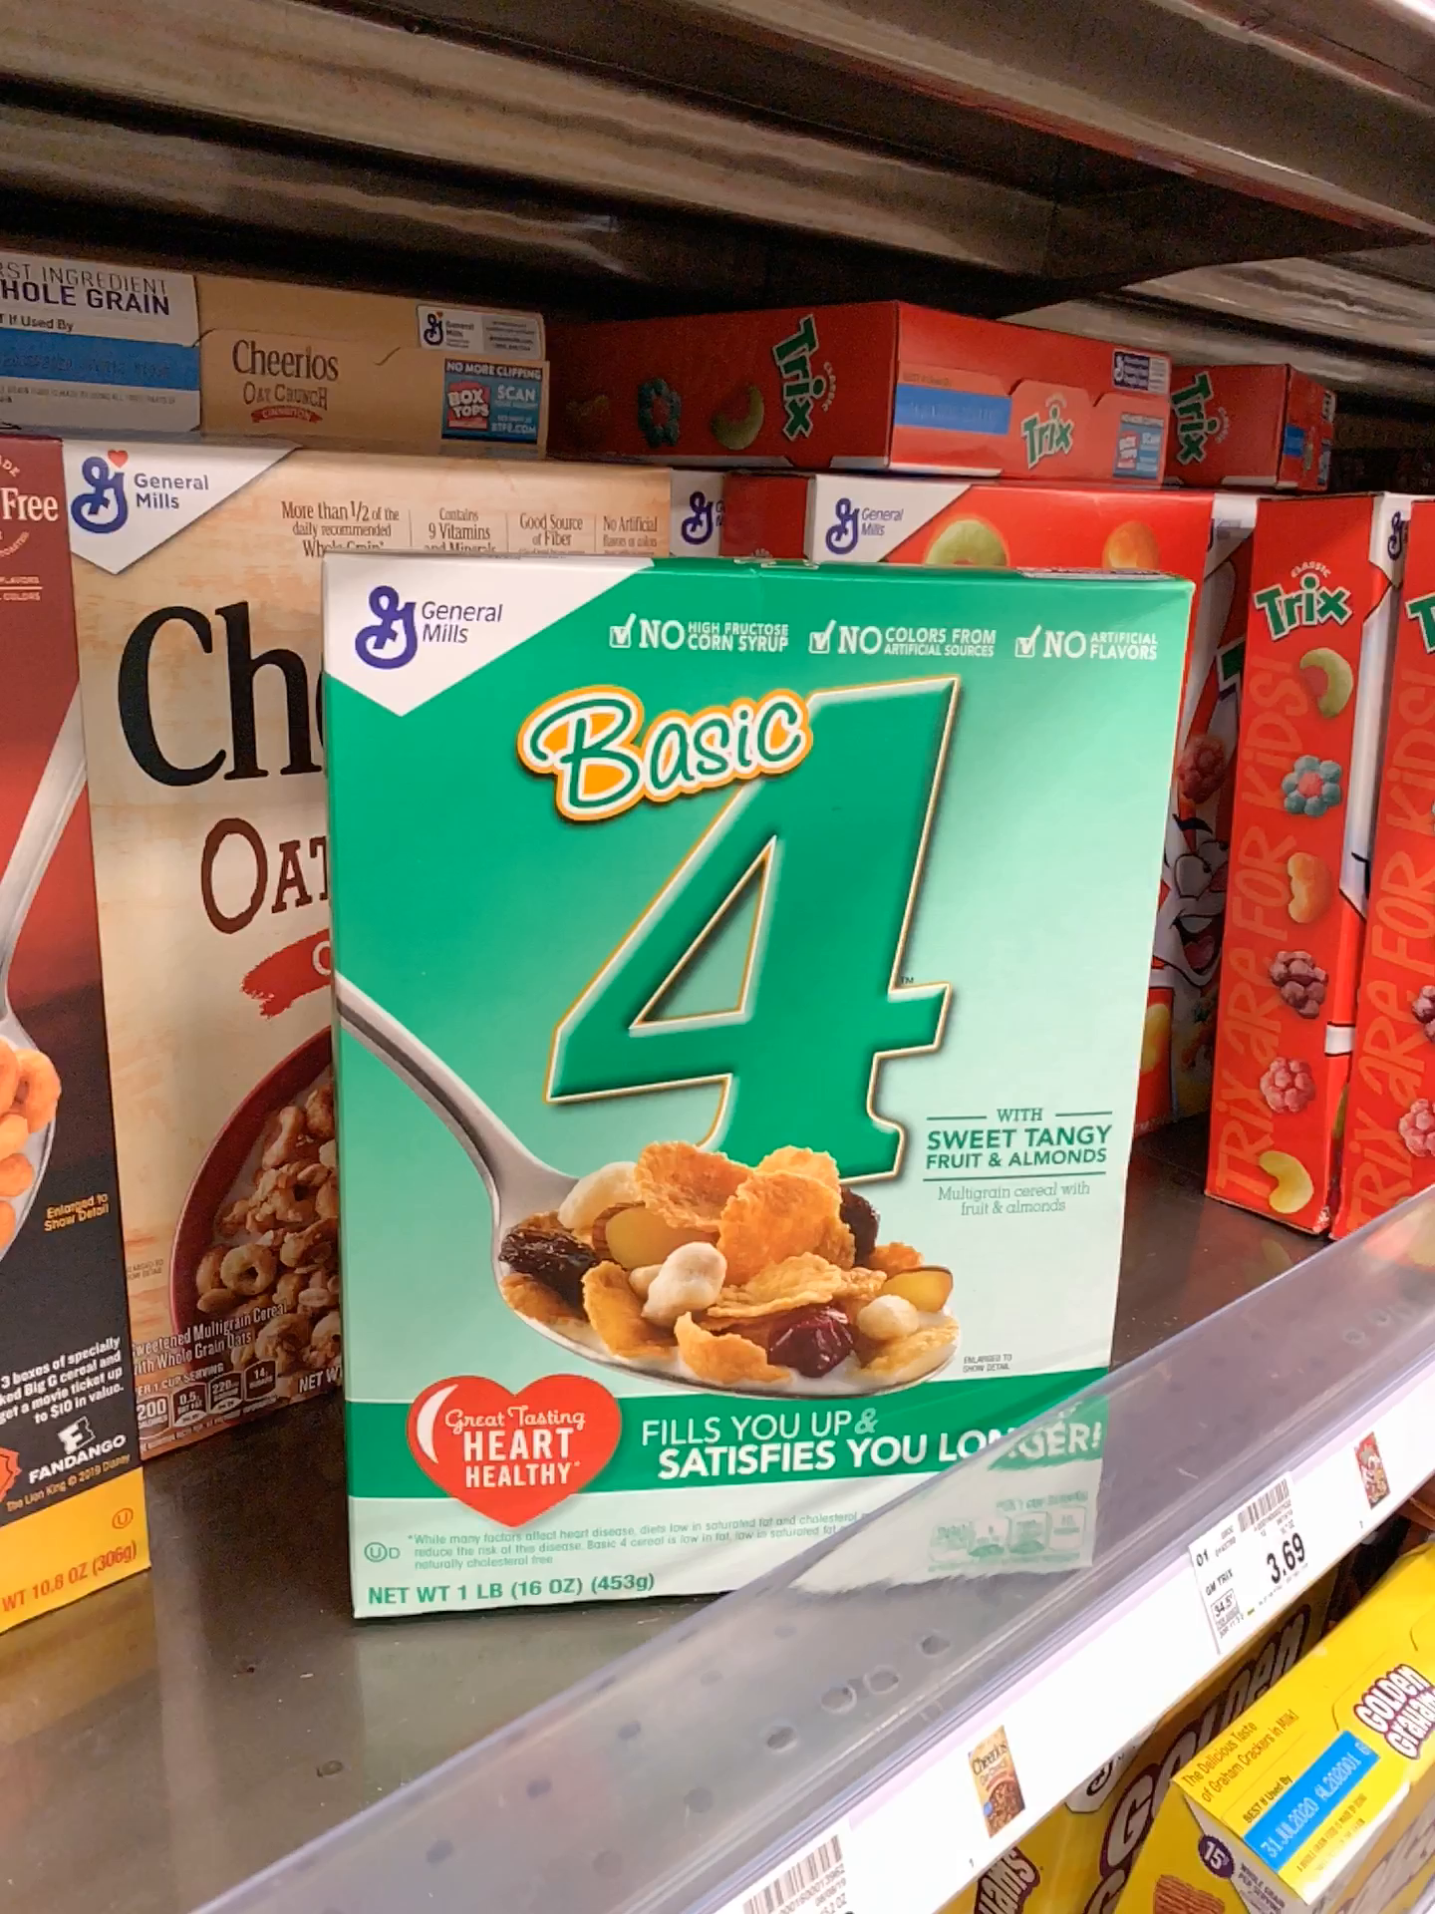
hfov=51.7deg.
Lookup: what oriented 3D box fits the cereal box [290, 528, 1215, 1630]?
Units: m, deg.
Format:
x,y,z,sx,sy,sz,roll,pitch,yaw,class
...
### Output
x,y,z,sx,sy,sz,roll,pitch,yaw,class
0.004,0.032,0.370,0.200,0.259,0.050,0,14,-9,cereal box
